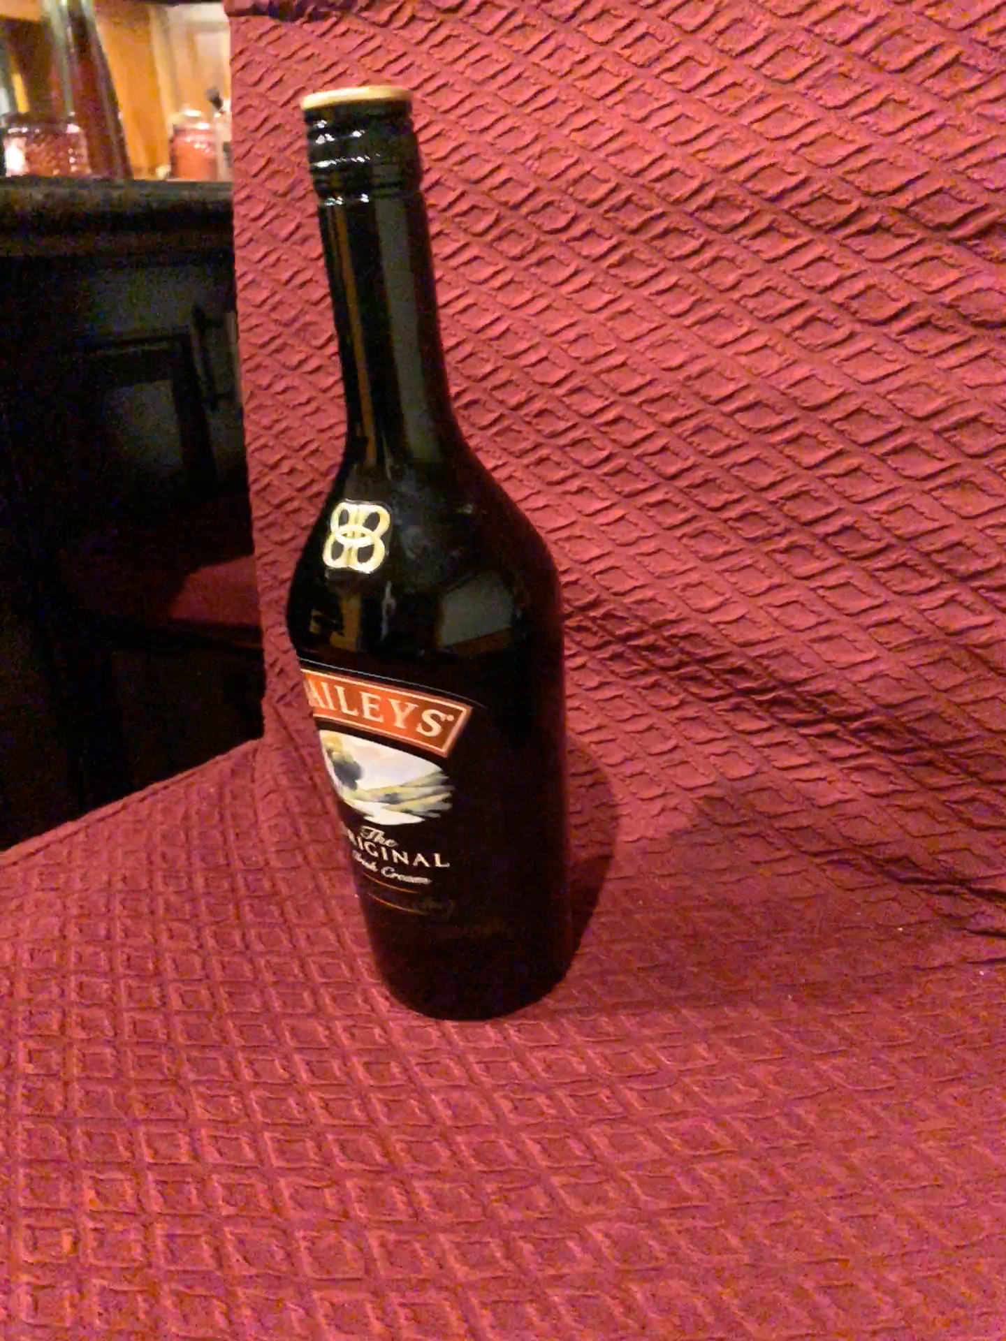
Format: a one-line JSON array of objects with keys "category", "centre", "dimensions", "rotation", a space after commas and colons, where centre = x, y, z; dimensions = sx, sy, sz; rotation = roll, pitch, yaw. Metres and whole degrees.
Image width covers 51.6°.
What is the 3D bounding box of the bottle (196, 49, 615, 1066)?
[{"category": "bottle", "centre": [-0.020, -0.024, 0.336], "dimensions": [0.080, 0.289, 0.070], "rotation": [10, 25, 34]}]
